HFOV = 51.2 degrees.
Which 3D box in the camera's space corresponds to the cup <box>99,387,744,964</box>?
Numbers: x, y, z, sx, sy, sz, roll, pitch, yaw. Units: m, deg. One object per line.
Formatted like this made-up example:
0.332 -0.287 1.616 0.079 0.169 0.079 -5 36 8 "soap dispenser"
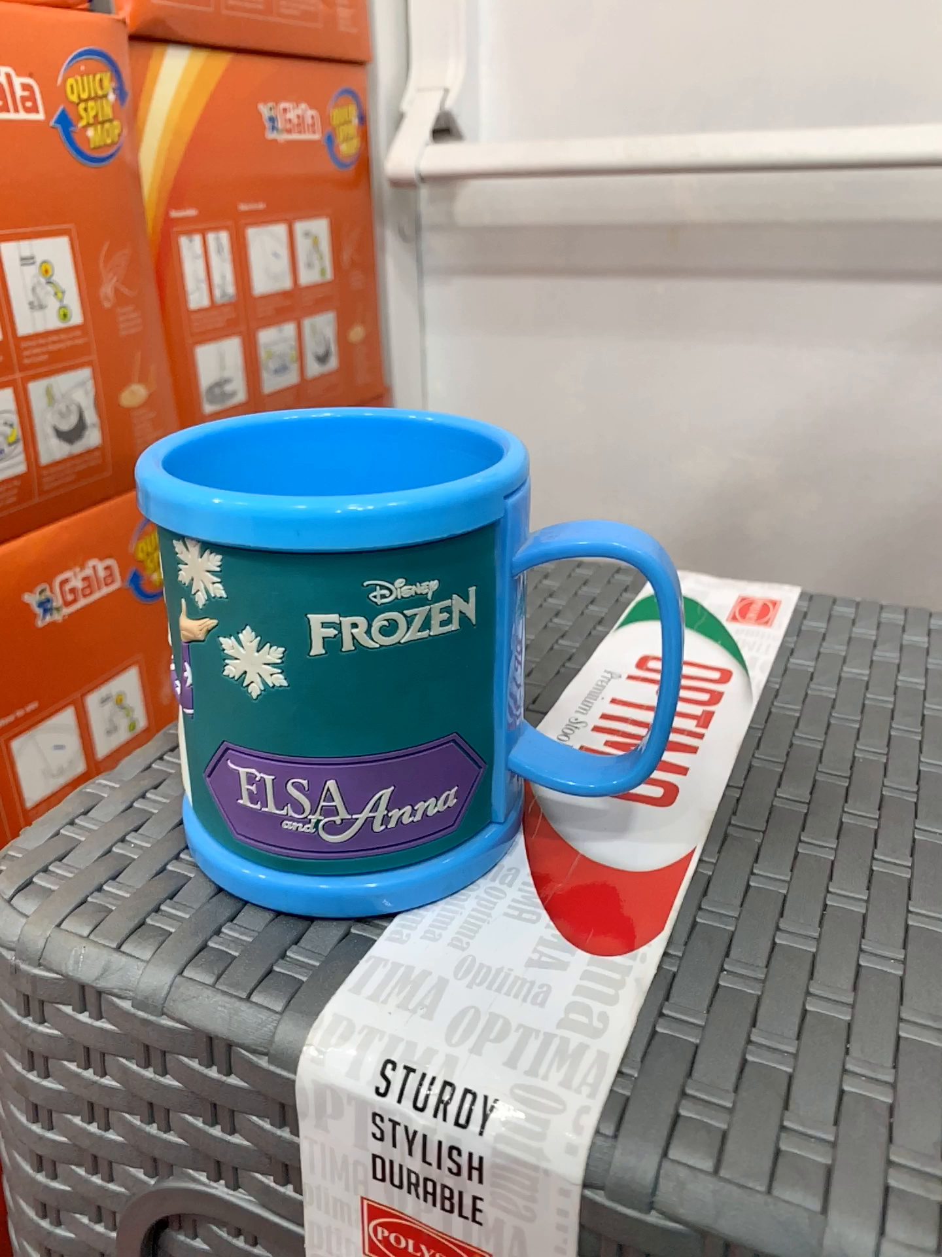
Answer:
-0.005 0.005 0.216 0.106 0.099 0.078 1 24 5 "cup"
